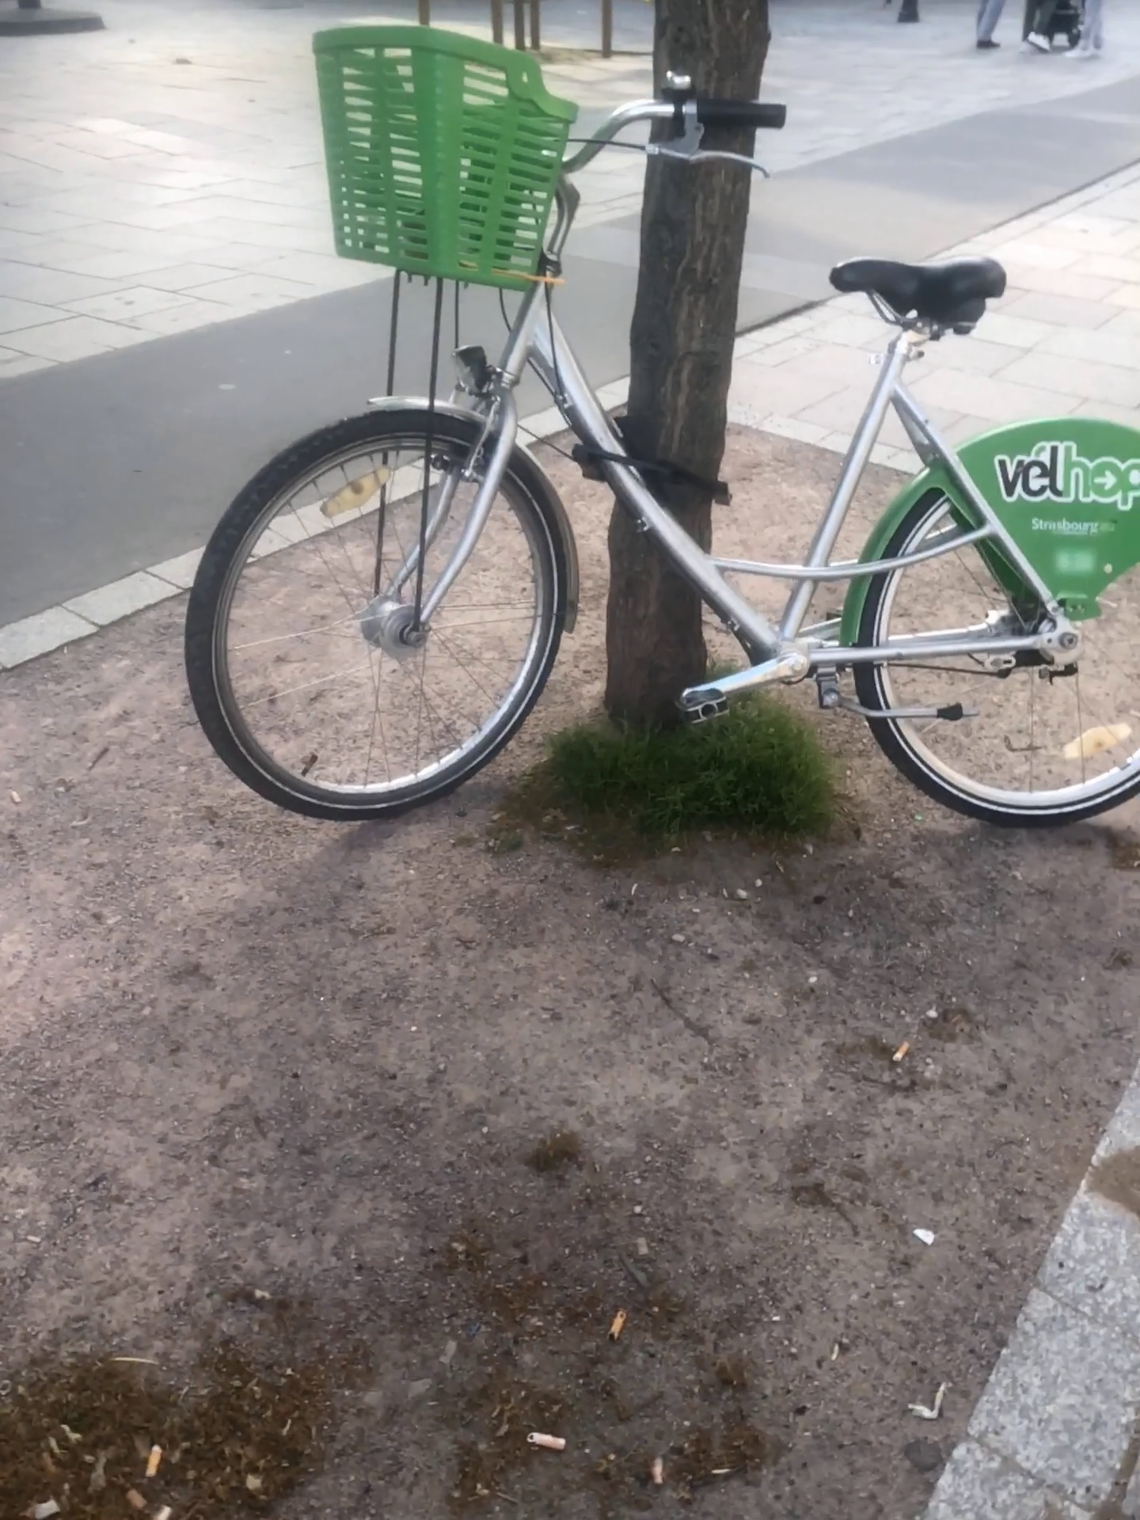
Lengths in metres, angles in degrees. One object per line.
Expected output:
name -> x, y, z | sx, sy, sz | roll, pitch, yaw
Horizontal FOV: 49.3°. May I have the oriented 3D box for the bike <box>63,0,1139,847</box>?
bike -> 0.282, -0.481, 1.970 | 1.720, 1.114, 0.313 | -5, 34, -15
